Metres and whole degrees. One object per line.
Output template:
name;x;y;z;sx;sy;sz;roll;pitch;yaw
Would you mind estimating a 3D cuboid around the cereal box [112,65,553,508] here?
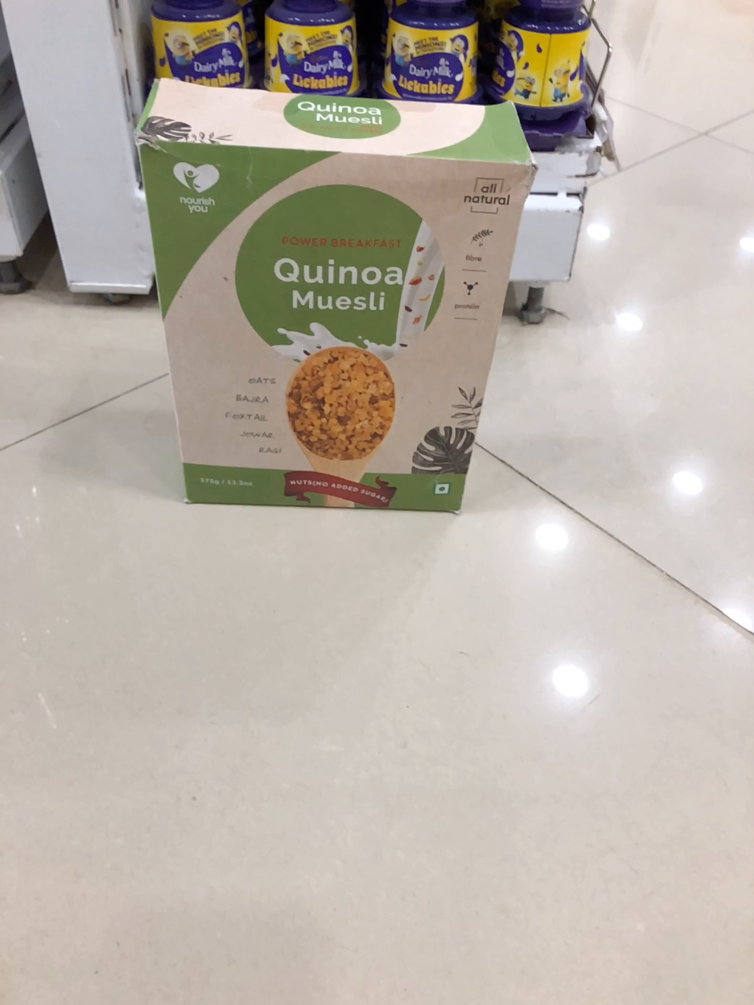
cereal box;-0.022;-0.088;0.391;0.160;0.189;0.060;2;45;-4
